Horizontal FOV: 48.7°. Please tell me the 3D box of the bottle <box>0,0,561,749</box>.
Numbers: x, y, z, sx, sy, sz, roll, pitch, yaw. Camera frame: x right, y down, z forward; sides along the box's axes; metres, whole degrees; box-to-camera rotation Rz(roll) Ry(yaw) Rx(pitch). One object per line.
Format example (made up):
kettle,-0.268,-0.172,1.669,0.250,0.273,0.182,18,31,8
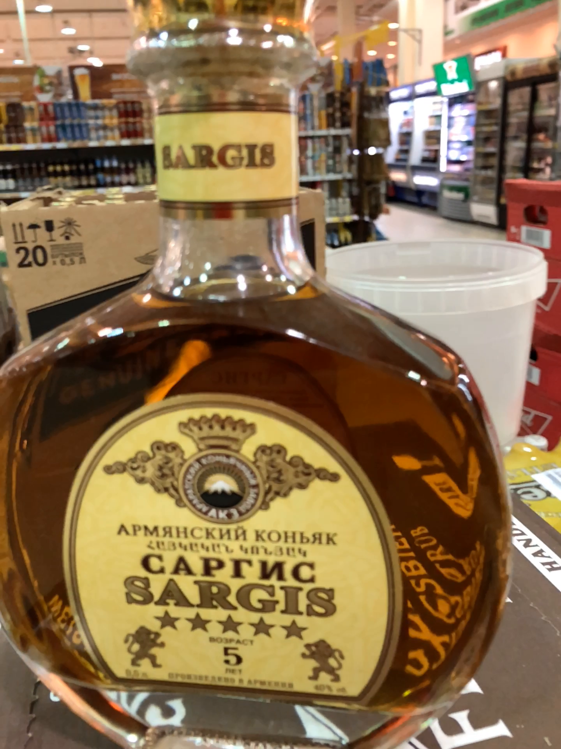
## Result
bottle,-0.010,0.011,0.166,0.140,0.209,0.070,-1,19,5
